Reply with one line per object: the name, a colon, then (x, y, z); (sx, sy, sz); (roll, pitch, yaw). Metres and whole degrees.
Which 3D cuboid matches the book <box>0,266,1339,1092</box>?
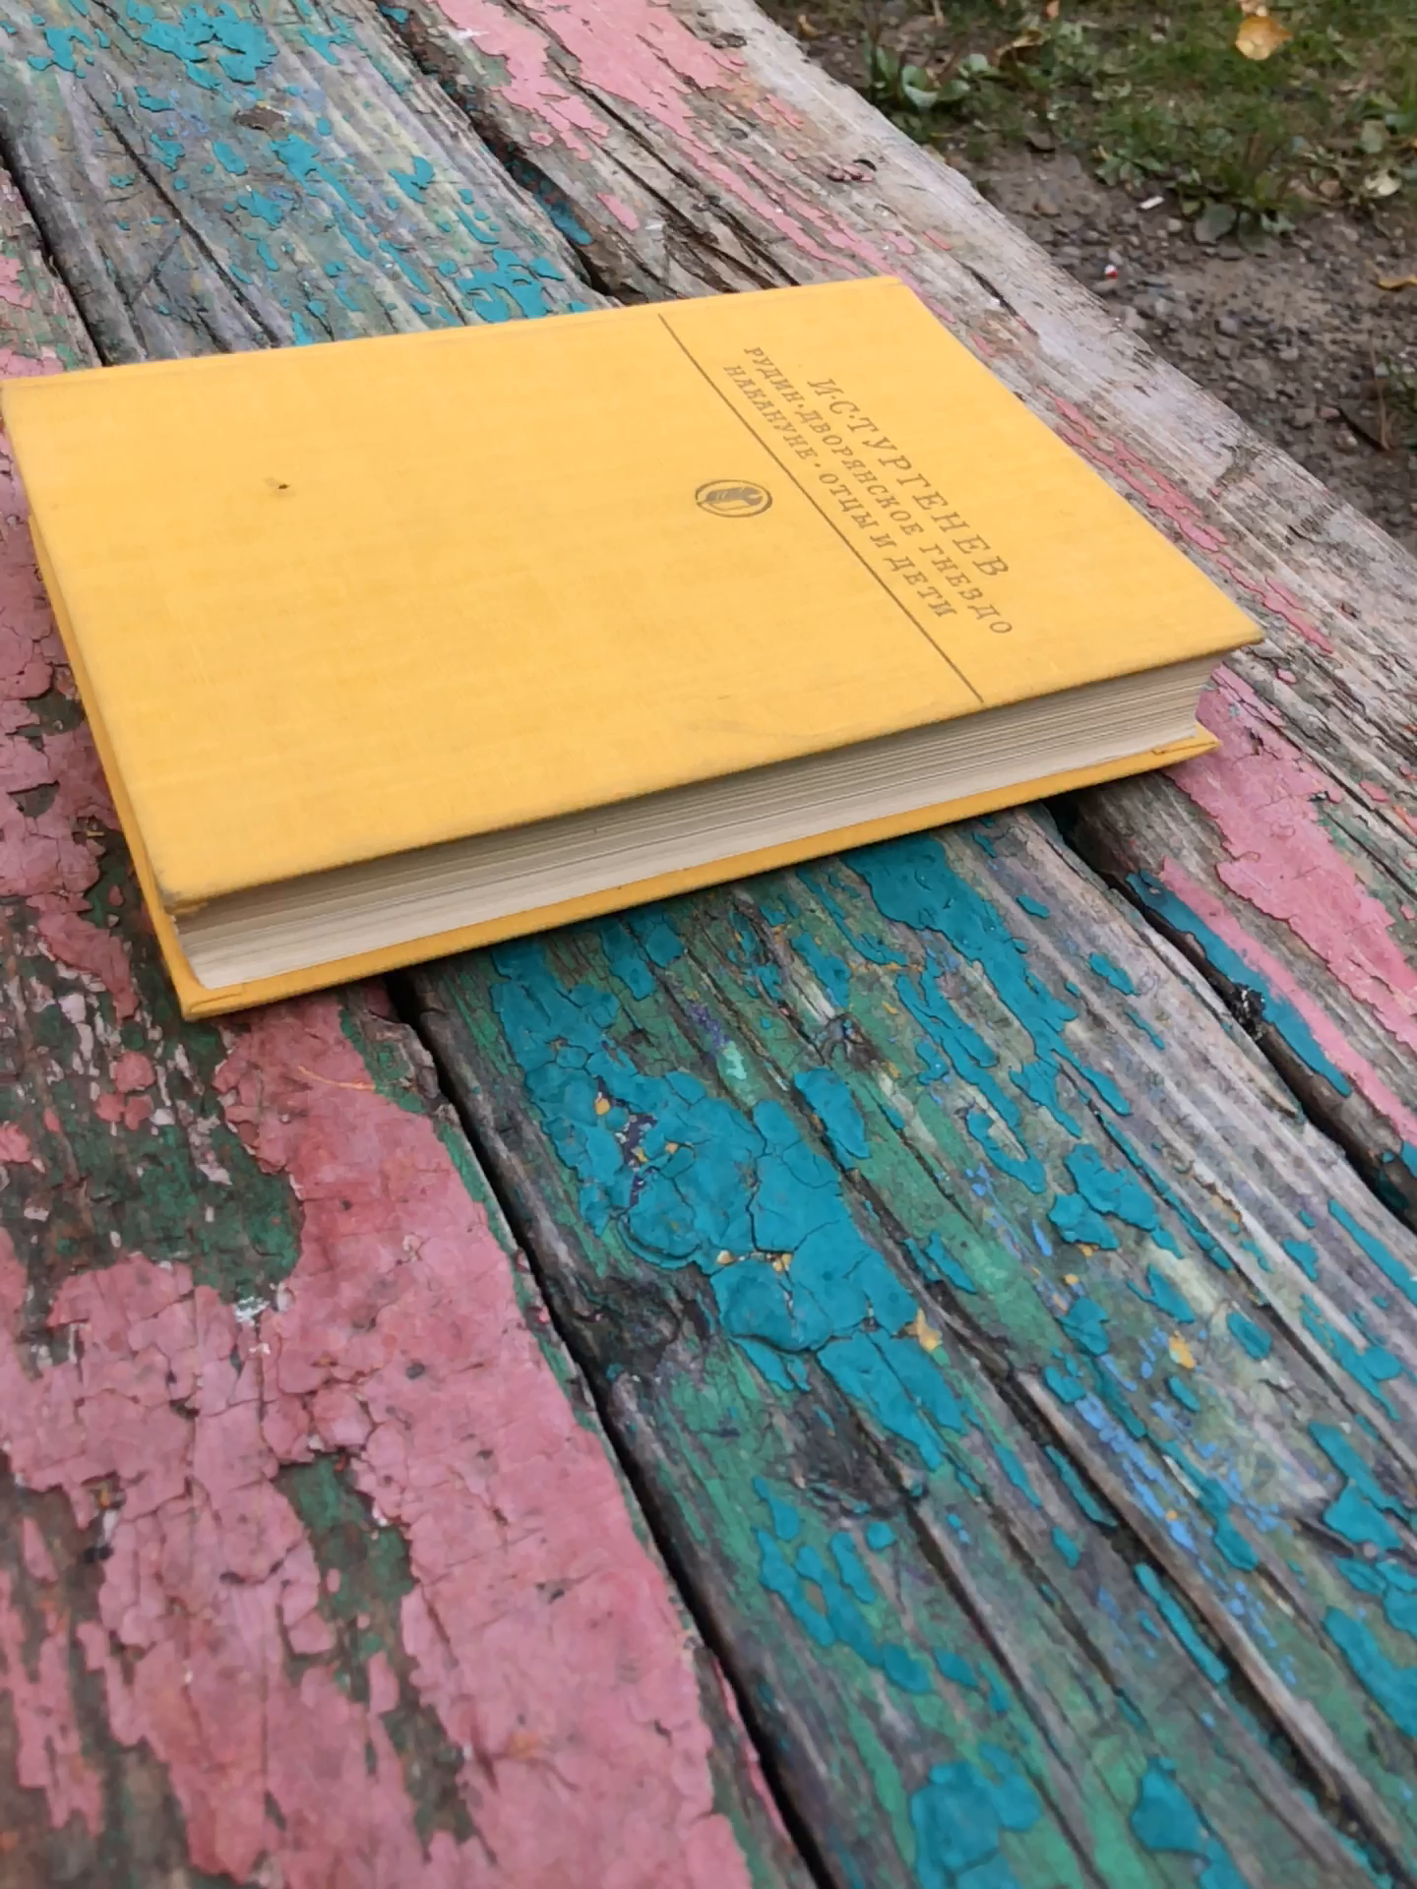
book: (-0.015, -0.070, 0.306); (0.217, 0.032, 0.153); (-16, 53, -22)
